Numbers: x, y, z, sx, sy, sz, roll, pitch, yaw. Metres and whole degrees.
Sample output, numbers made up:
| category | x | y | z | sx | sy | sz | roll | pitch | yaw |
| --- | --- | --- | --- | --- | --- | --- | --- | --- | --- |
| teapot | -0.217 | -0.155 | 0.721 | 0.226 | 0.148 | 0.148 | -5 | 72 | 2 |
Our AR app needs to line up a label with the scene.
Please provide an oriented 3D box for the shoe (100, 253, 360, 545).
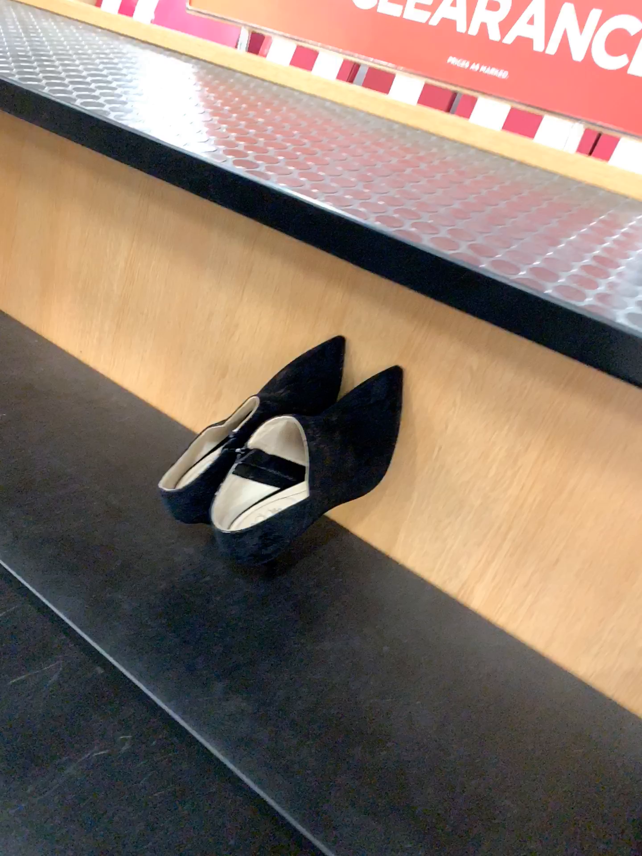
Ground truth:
| category | x | y | z | sx | sy | sz | roll | pitch | yaw |
| --- | --- | --- | --- | --- | --- | --- | --- | --- | --- |
| shoe | -0.085 | -0.028 | 0.716 | 0.101 | 0.271 | 0.140 | 29 | -14 | 23 |

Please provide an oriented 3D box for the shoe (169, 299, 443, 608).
| category | x | y | z | sx | sy | sz | roll | pitch | yaw |
| --- | --- | --- | --- | --- | --- | --- | --- | --- | --- |
| shoe | -0.006 | 0.023 | 0.687 | 0.111 | 0.281 | 0.120 | 27 | -14 | 34 |
